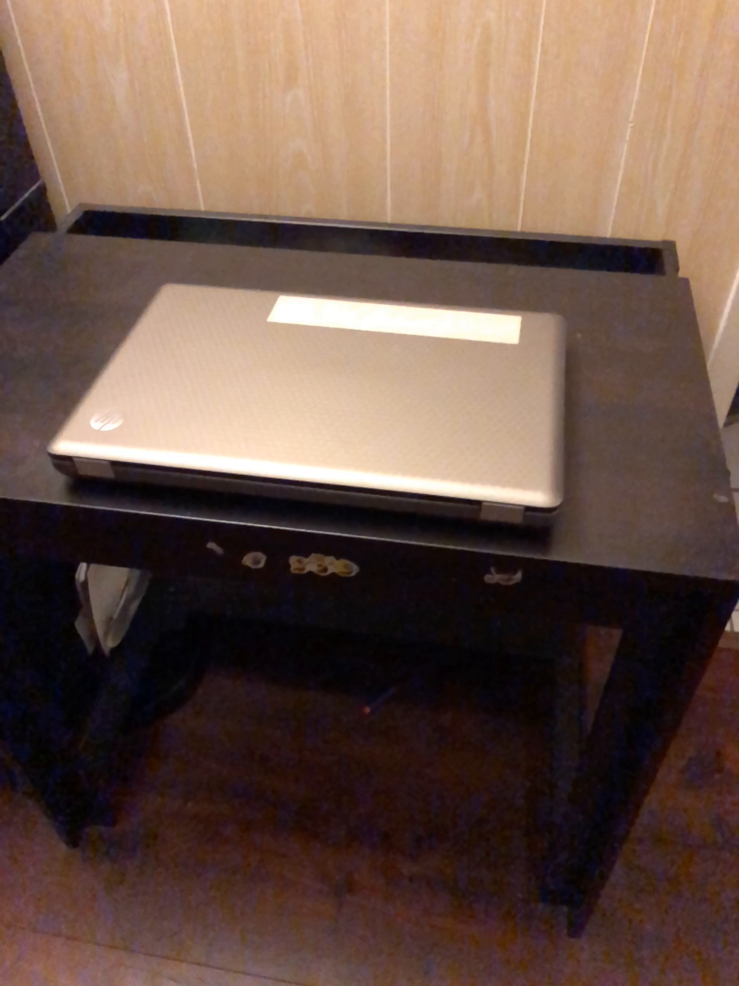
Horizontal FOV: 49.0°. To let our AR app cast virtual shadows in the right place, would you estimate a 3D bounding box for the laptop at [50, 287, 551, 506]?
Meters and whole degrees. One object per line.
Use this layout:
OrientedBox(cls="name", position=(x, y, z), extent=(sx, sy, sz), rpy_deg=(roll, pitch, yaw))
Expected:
OrientedBox(cls="laptop", position=(-0.038, -0.093, 0.656), extent=(0.357, 0.001, 0.238), rpy_deg=(6, 45, 9))
